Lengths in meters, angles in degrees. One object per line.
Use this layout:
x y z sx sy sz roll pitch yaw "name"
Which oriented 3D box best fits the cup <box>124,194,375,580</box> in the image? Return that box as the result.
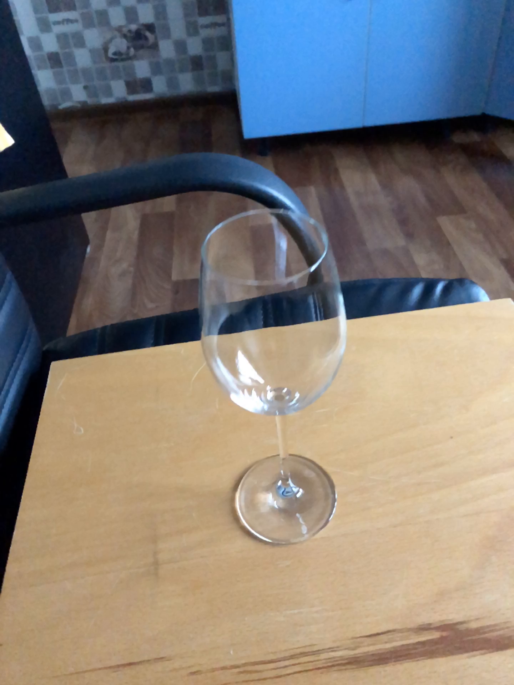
0.007 0.037 0.340 0.089 0.218 0.090 -3 43 3 "cup"
